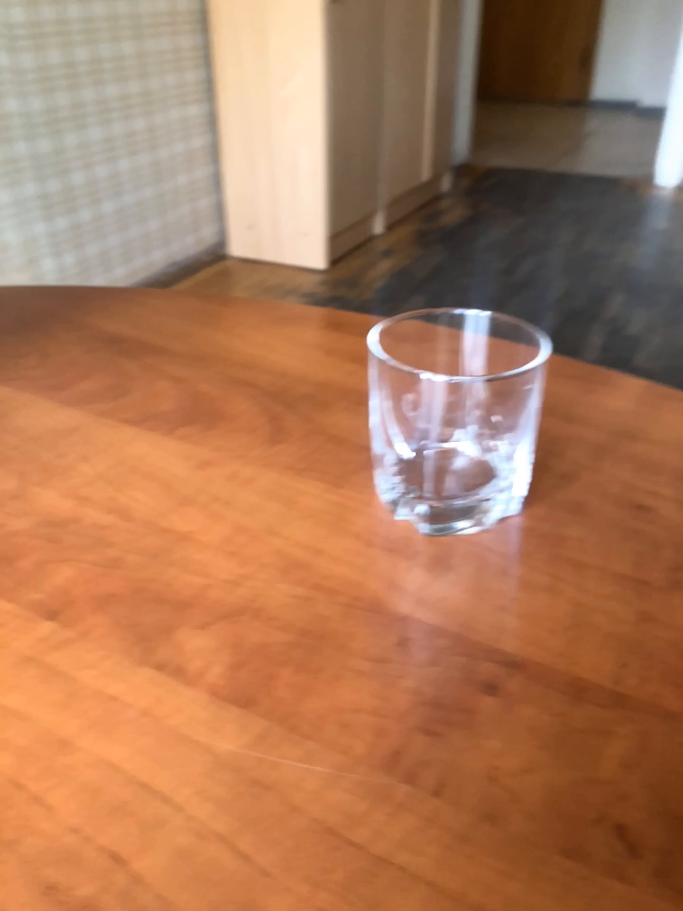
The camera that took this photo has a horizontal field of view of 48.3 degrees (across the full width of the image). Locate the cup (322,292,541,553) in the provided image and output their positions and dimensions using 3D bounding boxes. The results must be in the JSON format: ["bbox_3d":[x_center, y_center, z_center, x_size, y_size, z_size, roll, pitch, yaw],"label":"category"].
[{"bbox_3d":[0.043,-0.020,0.371,0.089,0.086,0.095,0,31,0],"label":"cup"}]
